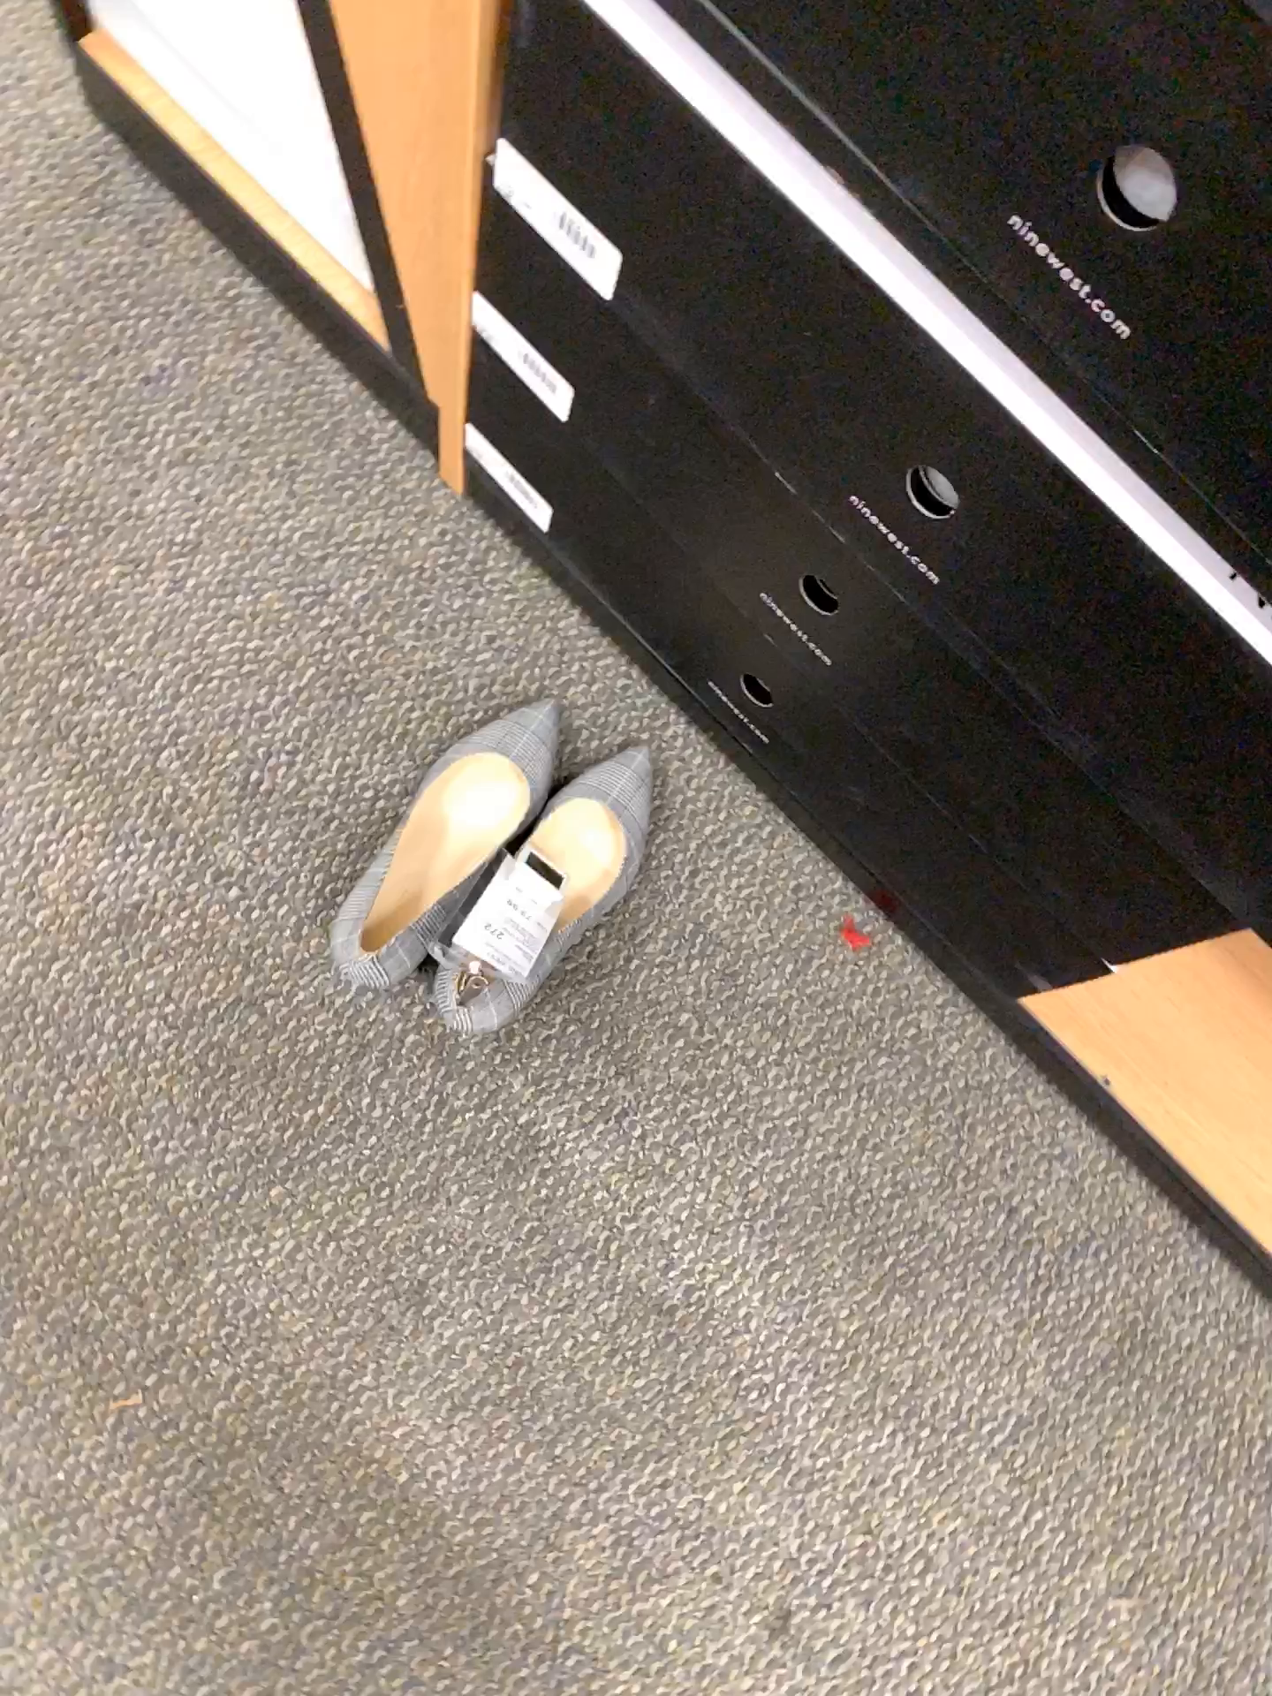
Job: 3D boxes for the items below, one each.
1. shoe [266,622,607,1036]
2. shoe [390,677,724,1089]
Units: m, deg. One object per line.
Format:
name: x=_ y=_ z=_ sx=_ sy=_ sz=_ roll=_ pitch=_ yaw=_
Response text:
shoe: x=-0.126 y=-0.005 z=0.844 sx=0.090 sy=0.150 sz=0.230 roll=32 pitch=75 yaw=-1
shoe: x=-0.054 y=0.029 z=0.839 sx=0.090 sy=0.150 sz=0.230 roll=32 pitch=75 yaw=-1
